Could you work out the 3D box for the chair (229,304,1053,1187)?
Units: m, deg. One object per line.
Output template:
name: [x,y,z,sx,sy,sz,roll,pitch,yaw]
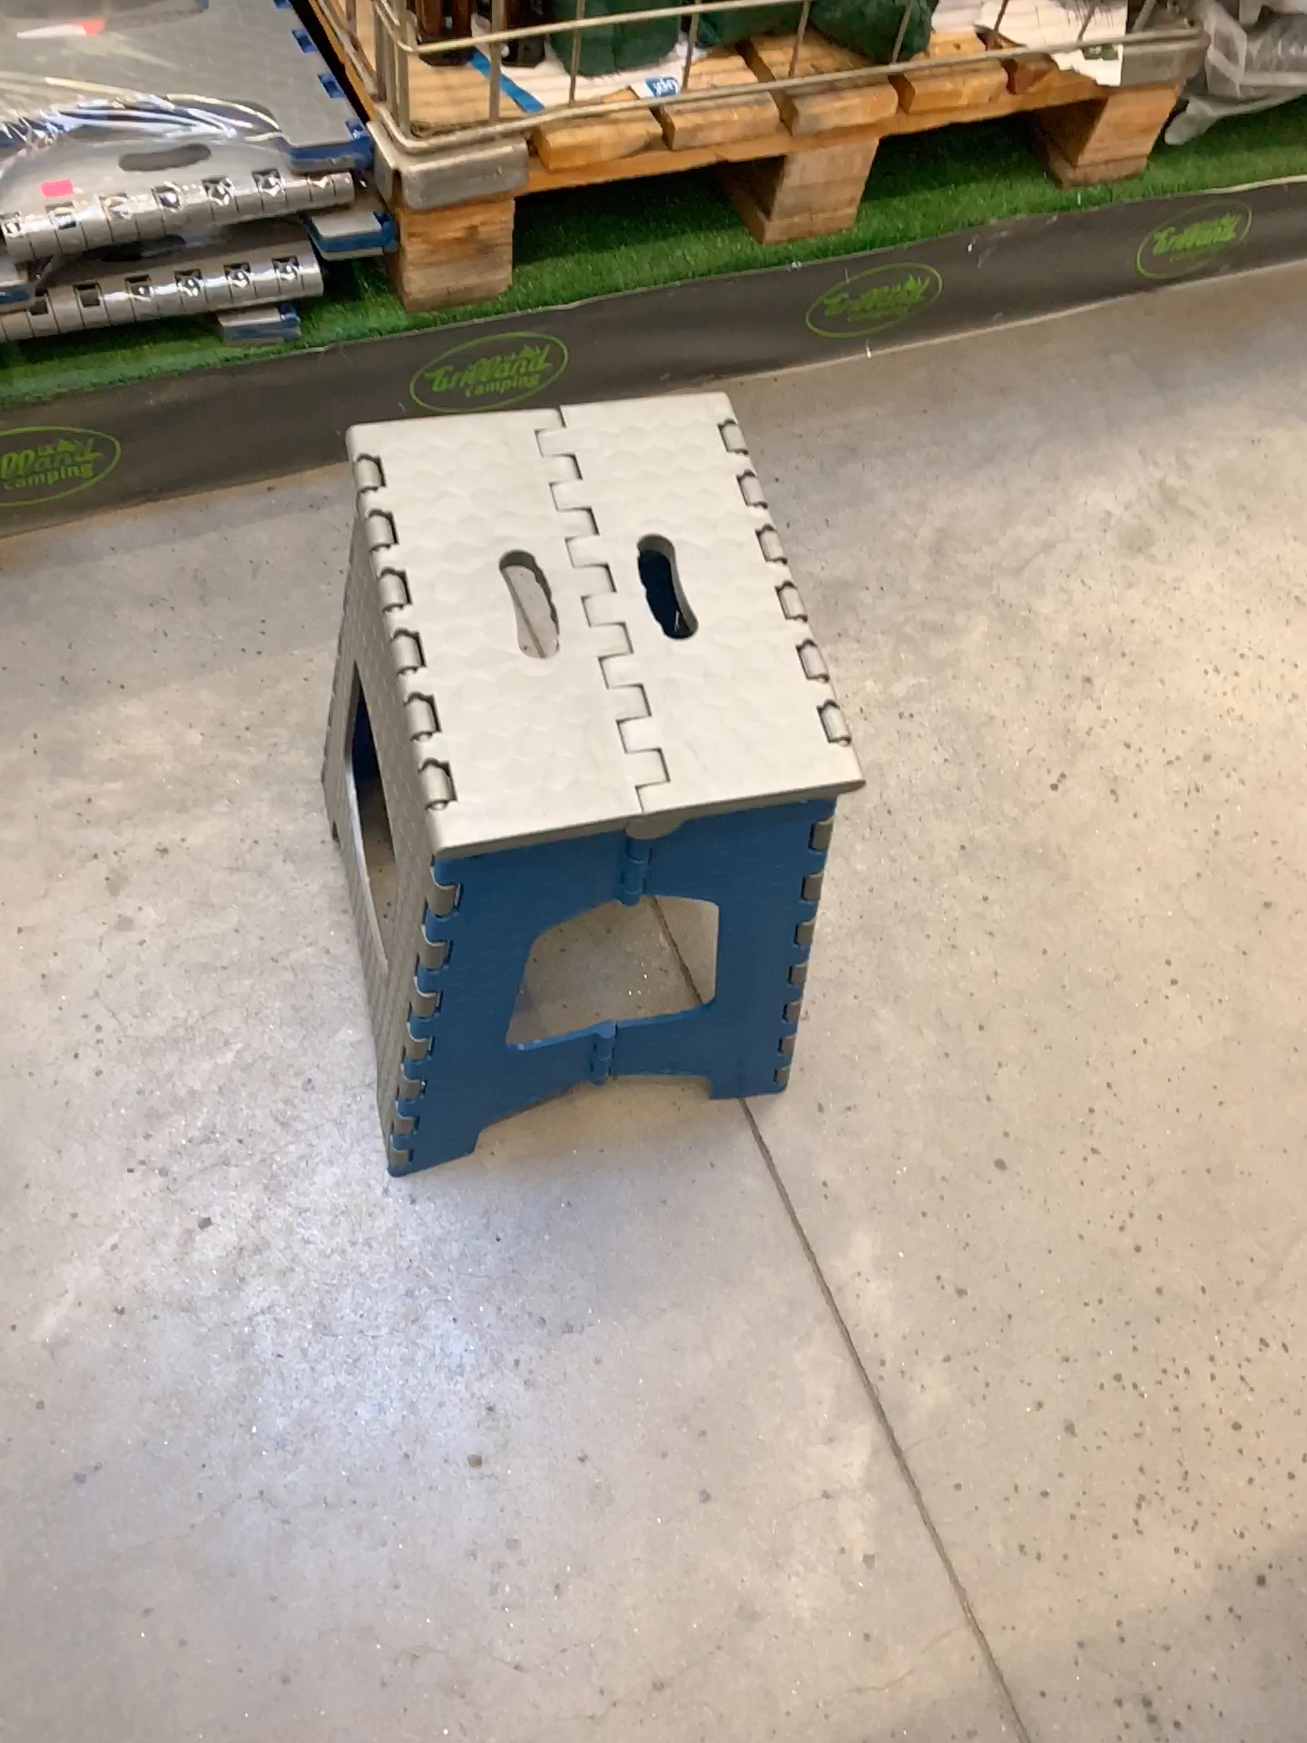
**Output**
chair: [-0.045,-0.056,0.852,0.340,0.419,0.351,-10,65,-13]
